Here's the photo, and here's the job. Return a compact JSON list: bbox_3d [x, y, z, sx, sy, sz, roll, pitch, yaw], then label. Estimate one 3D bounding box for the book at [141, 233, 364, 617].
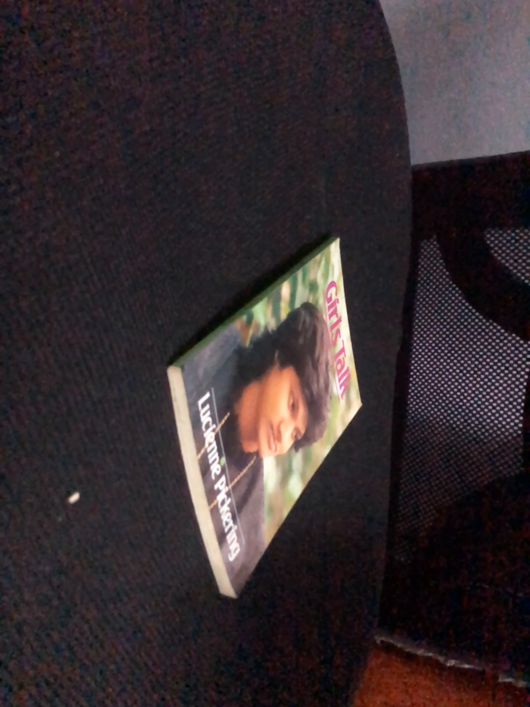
[{"bbox_3d":[0.012,0.022,0.329,0.201,0.010,0.130,-43,129,-52],"label":"book"}]
